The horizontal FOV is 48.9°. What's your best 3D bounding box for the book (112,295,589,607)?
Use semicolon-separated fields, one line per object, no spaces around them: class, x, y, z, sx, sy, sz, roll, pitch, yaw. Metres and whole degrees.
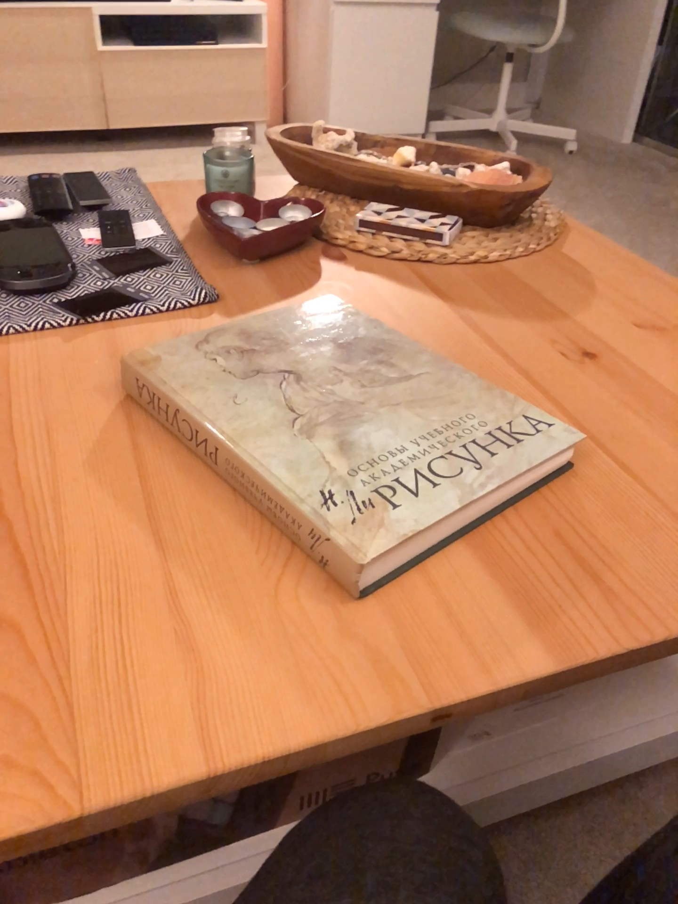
book;0.001;-0.029;0.539;0.215;0.030;0.272;-24;45;-35
